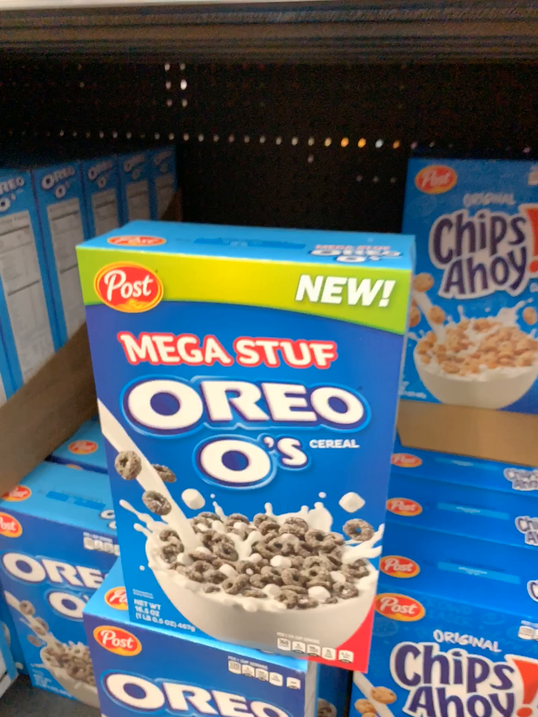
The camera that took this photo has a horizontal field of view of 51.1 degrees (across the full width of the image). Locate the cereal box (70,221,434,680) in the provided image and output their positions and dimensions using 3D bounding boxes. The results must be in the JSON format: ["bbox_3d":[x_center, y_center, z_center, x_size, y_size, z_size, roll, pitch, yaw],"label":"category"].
[{"bbox_3d":[-0.008,0.067,0.395,0.200,0.299,0.080,6,24,11],"label":"cereal box"}]
